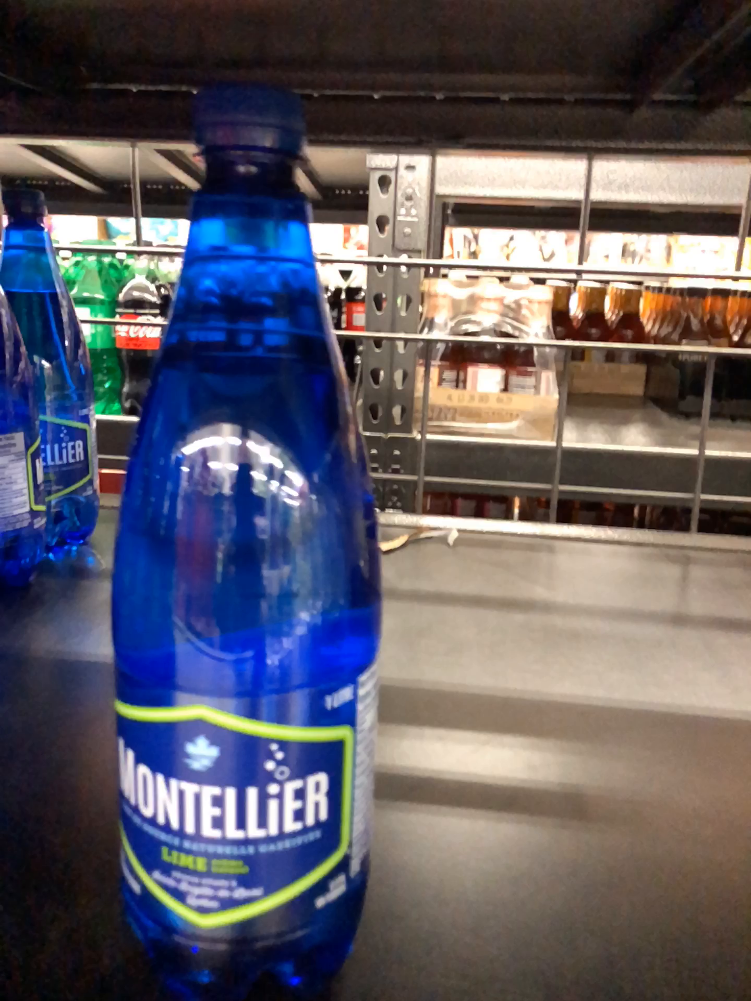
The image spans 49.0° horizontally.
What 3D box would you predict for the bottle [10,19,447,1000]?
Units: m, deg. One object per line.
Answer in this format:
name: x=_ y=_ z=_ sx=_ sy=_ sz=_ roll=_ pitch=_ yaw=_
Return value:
bottle: x=-0.038 y=0.015 z=0.273 sx=0.100 sy=0.289 sz=0.090 roll=4 pitch=15 yaw=8
